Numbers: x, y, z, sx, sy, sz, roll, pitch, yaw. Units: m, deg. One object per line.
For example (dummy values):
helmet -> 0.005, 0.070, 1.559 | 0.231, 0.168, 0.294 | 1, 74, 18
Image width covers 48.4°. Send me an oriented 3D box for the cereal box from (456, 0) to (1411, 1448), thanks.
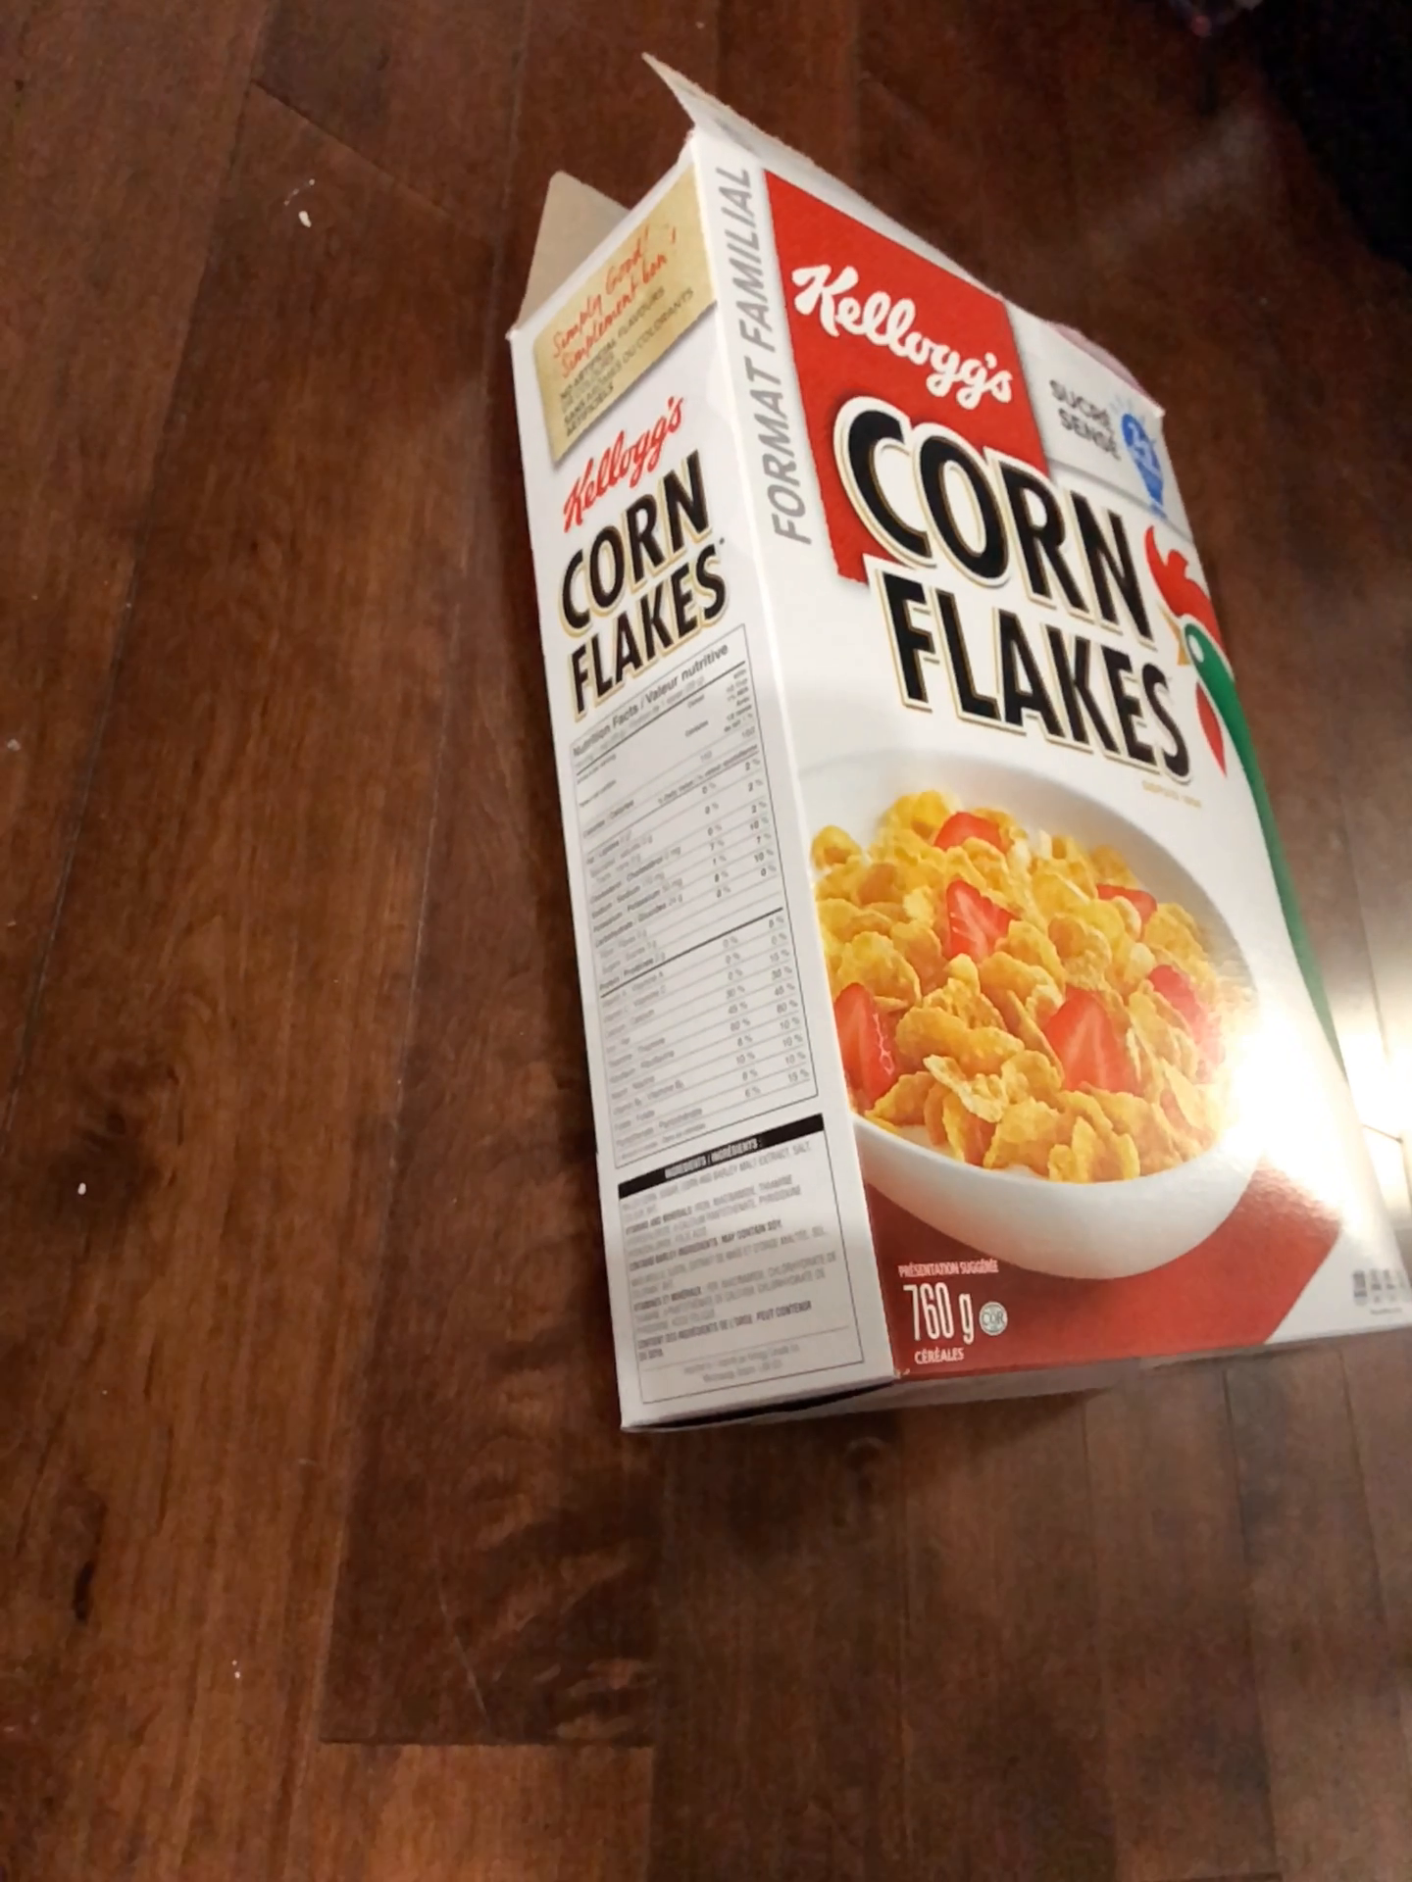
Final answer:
cereal box -> 0.070, -0.055, 0.492 | 0.261, 0.090, 0.380 | 9, 66, -41
